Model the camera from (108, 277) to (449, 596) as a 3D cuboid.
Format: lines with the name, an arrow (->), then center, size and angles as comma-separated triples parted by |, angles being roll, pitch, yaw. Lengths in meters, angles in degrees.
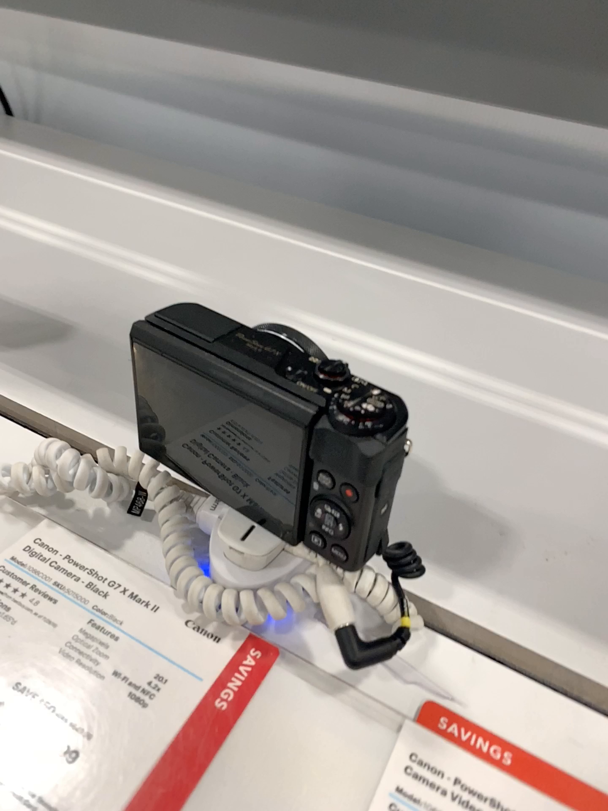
camera -> -0.014, 0.006, 0.227 | 0.110, 0.060, 0.044 | 28, 40, 24
